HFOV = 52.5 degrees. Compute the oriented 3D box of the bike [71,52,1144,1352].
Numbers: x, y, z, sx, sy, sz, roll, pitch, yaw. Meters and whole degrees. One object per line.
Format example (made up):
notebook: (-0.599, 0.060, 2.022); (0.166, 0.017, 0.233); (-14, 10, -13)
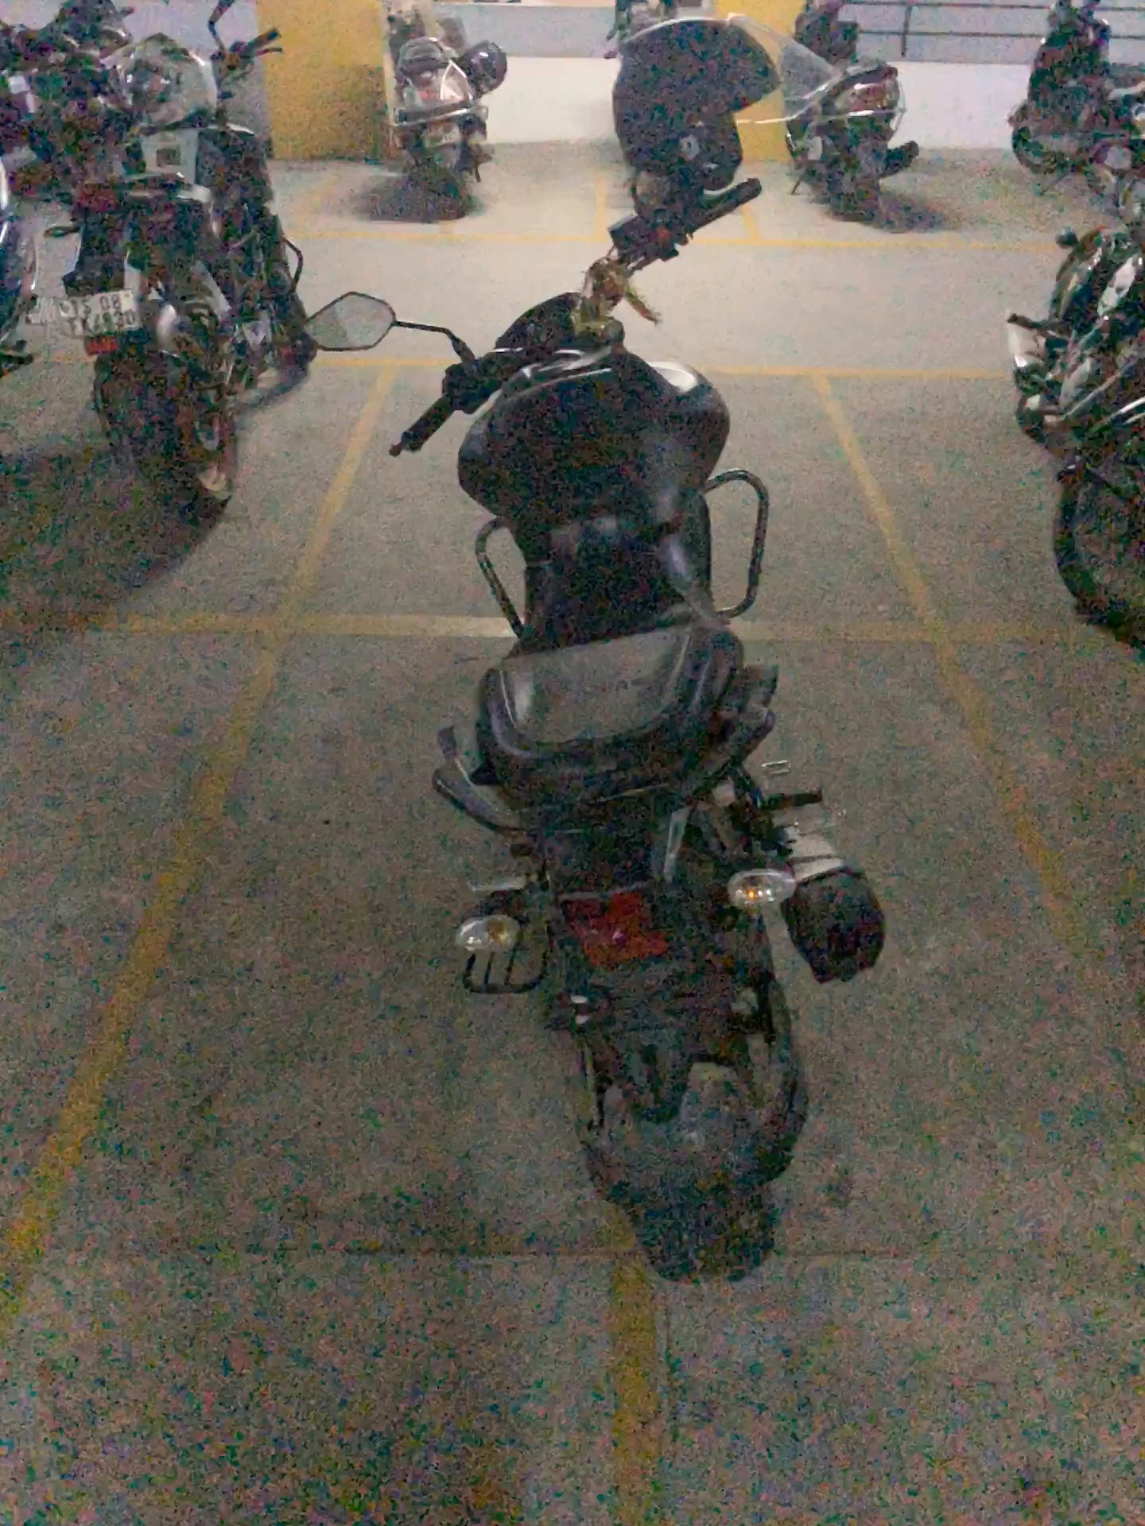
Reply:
bike: (-0.096, -0.280, 1.793); (0.785, 1.097, 1.744); (-4, 40, -7)
